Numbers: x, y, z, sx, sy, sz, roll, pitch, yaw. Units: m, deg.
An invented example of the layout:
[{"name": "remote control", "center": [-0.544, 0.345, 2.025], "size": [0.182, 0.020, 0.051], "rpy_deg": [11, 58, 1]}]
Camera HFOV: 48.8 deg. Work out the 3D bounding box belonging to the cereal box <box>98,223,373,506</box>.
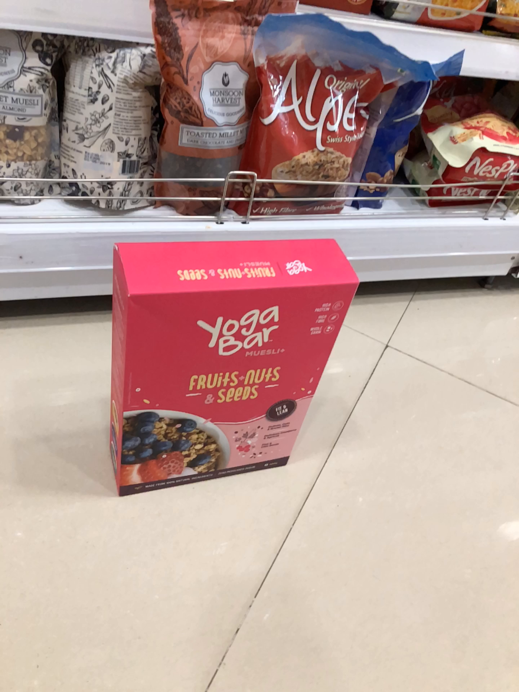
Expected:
[{"name": "cereal box", "center": [-0.034, 0.021, 0.448], "size": [0.170, 0.228, 0.060], "rpy_deg": [-7, 47, -22]}]
